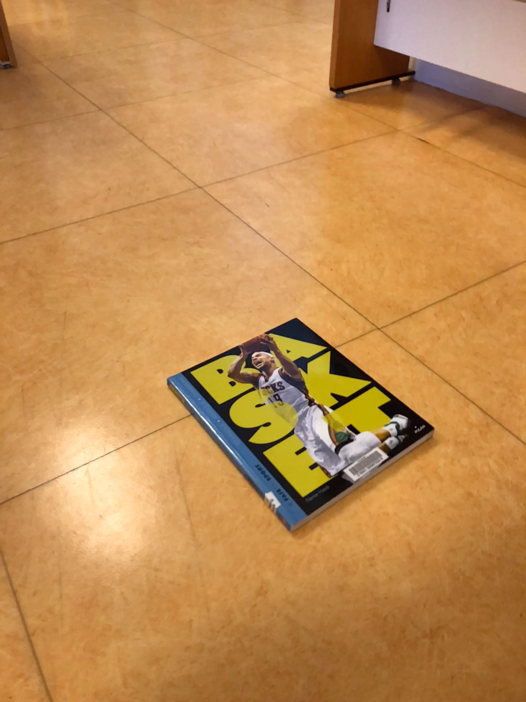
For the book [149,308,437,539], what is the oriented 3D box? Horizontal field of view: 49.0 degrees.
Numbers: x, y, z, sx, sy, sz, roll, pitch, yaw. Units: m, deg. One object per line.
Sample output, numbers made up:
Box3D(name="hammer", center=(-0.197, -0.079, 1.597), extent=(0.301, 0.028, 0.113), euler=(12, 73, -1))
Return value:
Box3D(name="book", center=(0.025, 0.056, 0.626), extent=(0.201, 0.020, 0.245), euler=(-26, 47, -27))
